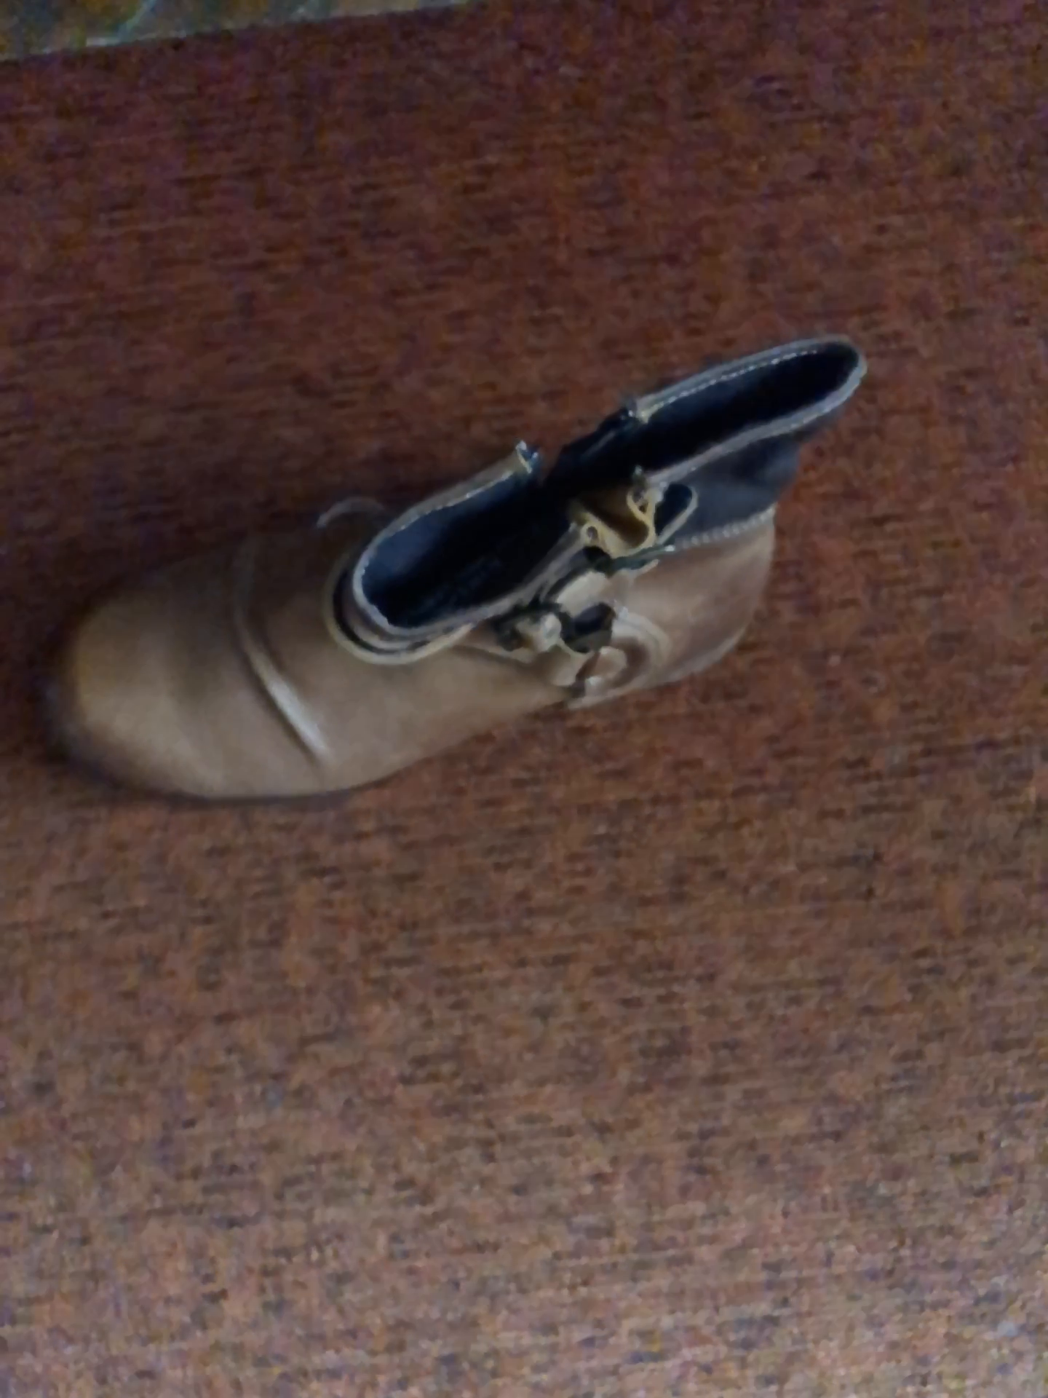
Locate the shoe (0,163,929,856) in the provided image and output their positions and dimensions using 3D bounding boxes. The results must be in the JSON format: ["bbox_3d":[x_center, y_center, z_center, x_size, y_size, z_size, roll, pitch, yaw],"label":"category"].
[{"bbox_3d":[-0.049,-0.038,0.386,0.280,0.190,0.110,-14,81,-1],"label":"shoe"}]
